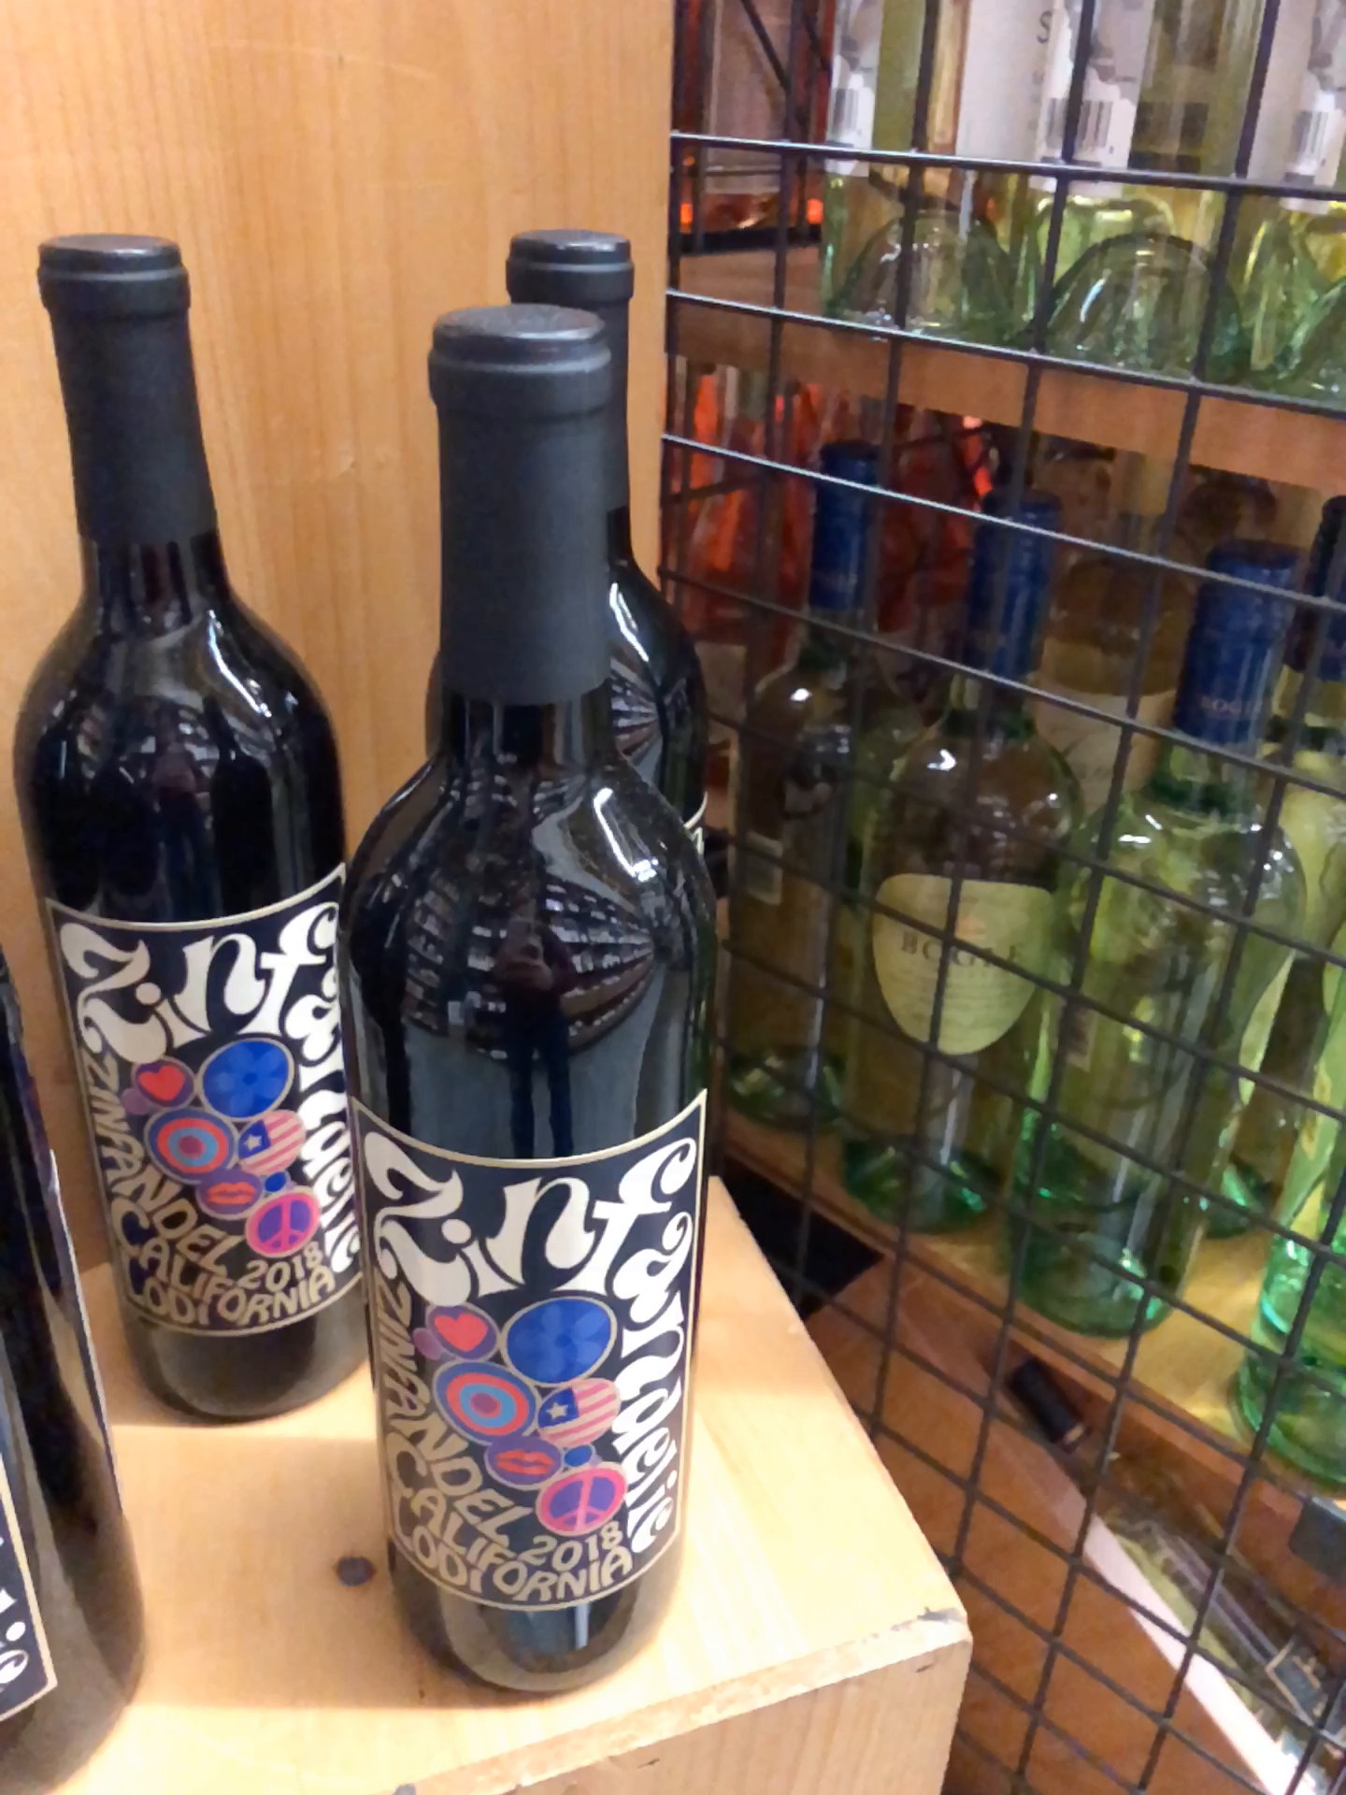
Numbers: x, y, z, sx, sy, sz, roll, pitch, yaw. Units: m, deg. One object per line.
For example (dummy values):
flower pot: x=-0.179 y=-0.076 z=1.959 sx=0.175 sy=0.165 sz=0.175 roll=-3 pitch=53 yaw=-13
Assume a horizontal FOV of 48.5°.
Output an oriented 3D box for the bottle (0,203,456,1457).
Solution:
bottle: x=-0.111 y=-0.008 z=0.352 sx=0.077 sy=0.274 sz=0.080 roll=2 pitch=29 yaw=-1

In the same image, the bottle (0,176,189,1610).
bottle: x=-0.168 y=0.013 z=0.303 sx=0.077 sy=0.280 sz=0.080 roll=2 pitch=29 yaw=-1

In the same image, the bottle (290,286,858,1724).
bottle: x=-0.025 y=0.037 z=0.298 sx=0.073 sy=0.286 sz=0.070 roll=2 pitch=29 yaw=-1

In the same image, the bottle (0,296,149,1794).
bottle: x=-0.158 y=0.058 z=0.275 sx=0.080 sy=0.304 sz=0.077 roll=2 pitch=29 yaw=-1

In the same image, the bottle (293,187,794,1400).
bottle: x=-0.033 y=-0.017 z=0.405 sx=0.077 sy=0.310 sz=0.080 roll=2 pitch=29 yaw=-1
